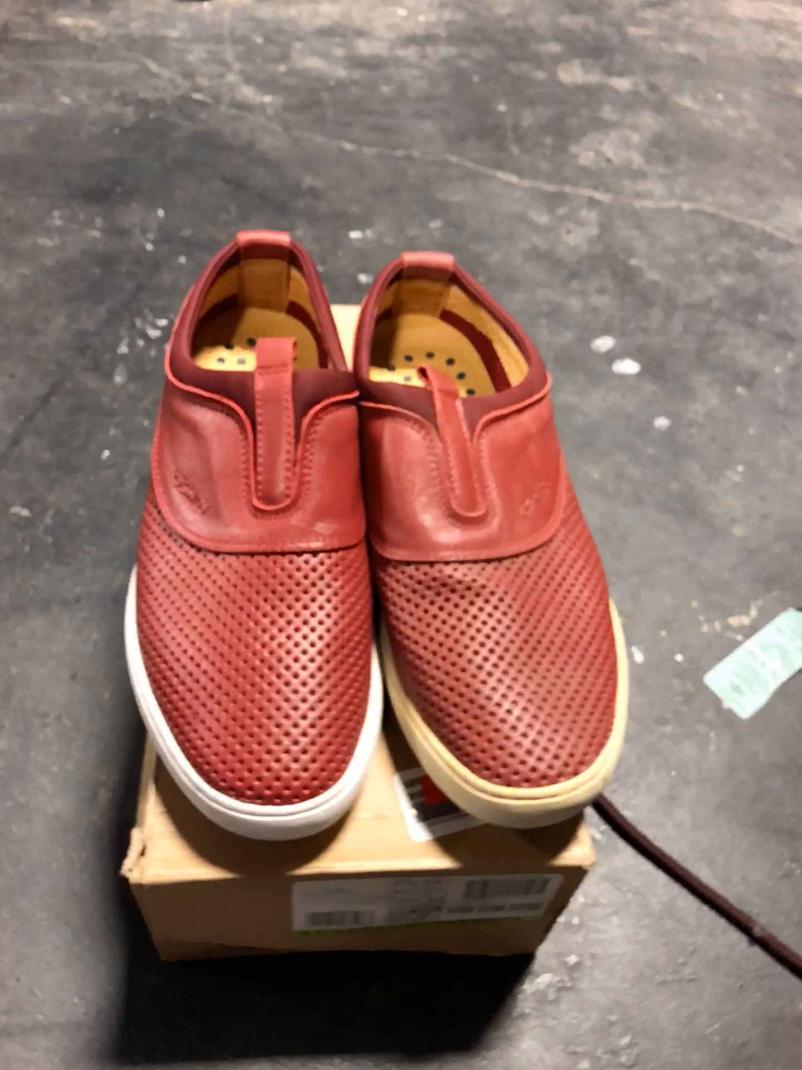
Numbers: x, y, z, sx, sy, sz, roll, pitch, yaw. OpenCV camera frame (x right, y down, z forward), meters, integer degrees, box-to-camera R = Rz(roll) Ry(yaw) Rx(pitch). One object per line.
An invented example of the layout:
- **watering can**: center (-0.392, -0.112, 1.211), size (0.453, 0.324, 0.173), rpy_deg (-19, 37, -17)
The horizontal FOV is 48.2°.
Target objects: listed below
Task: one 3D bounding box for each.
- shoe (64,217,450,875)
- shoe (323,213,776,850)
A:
- **shoe**: center (-0.060, -0.009, 0.348), size (0.100, 0.109, 0.232), rpy_deg (-3, 51, -11)
- **shoe**: center (0.033, -0.015, 0.358), size (0.100, 0.109, 0.232), rpy_deg (-3, 51, -11)
